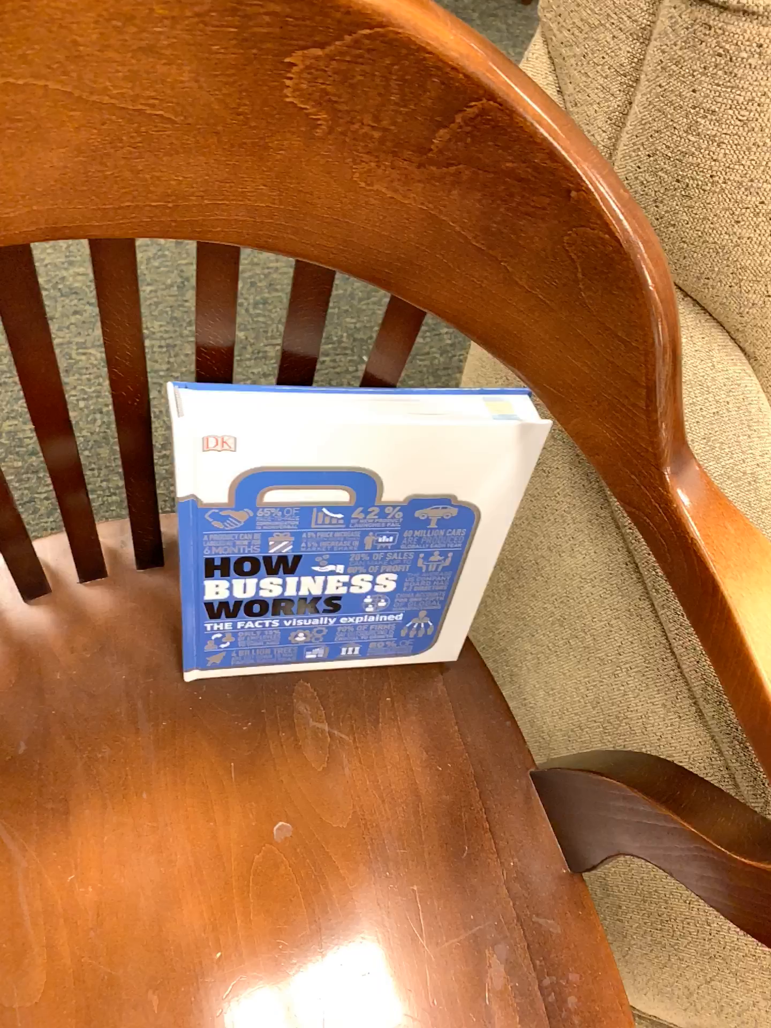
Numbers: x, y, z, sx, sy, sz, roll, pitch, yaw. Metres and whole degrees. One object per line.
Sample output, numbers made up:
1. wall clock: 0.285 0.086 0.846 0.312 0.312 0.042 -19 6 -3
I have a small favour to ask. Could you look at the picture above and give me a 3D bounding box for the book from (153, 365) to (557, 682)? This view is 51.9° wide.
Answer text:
1. book: -0.034 0.019 0.505 0.211 0.246 0.039 -1 48 -15
